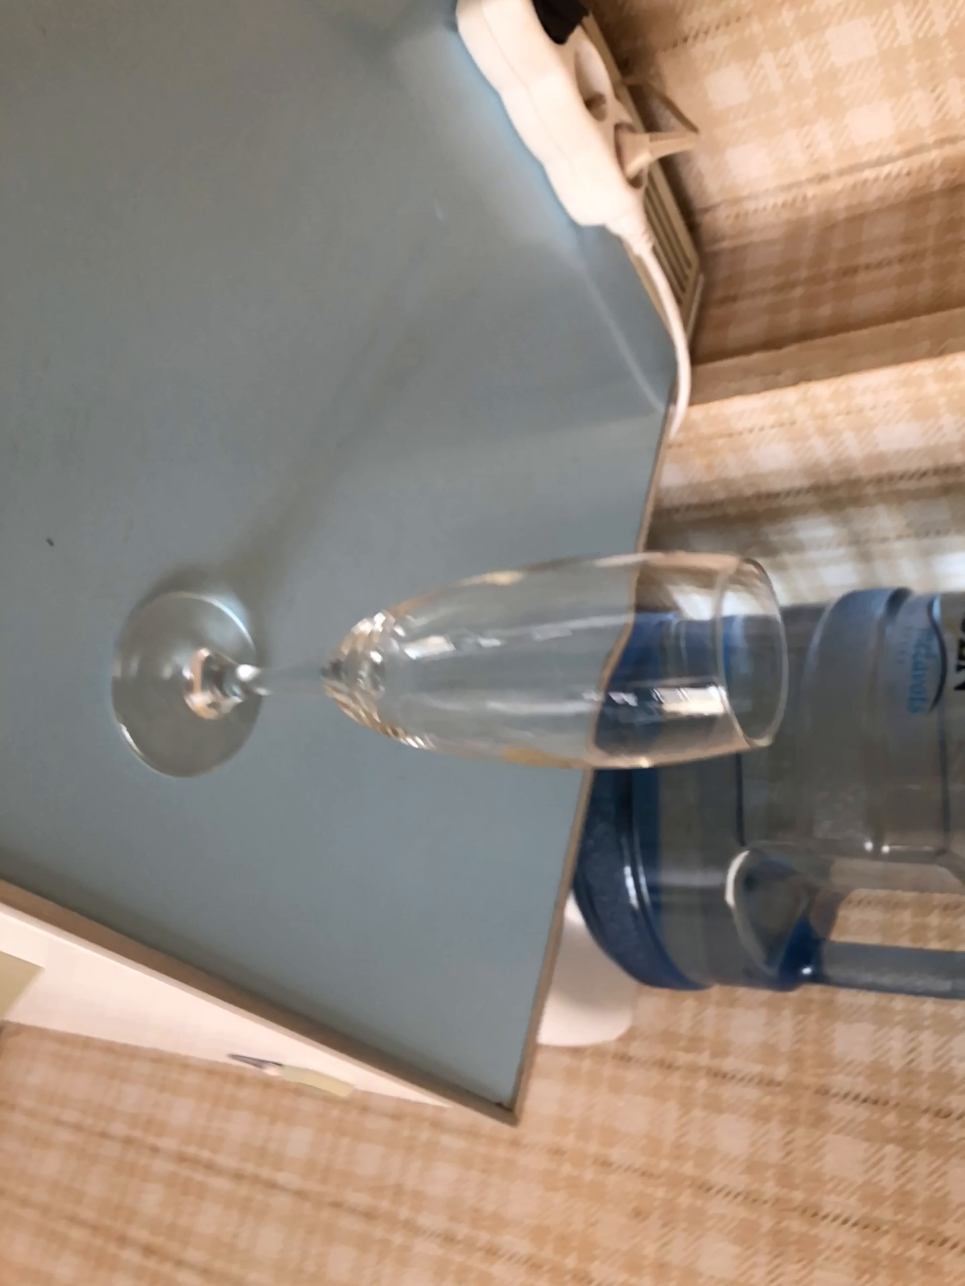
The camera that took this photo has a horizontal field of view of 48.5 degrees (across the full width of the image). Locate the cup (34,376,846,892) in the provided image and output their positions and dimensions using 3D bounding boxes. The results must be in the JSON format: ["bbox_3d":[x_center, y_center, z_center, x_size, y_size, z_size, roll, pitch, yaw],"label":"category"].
[{"bbox_3d":[-0.014,0.009,0.302,0.090,0.199,0.090,11,77,-55],"label":"cup"}]
